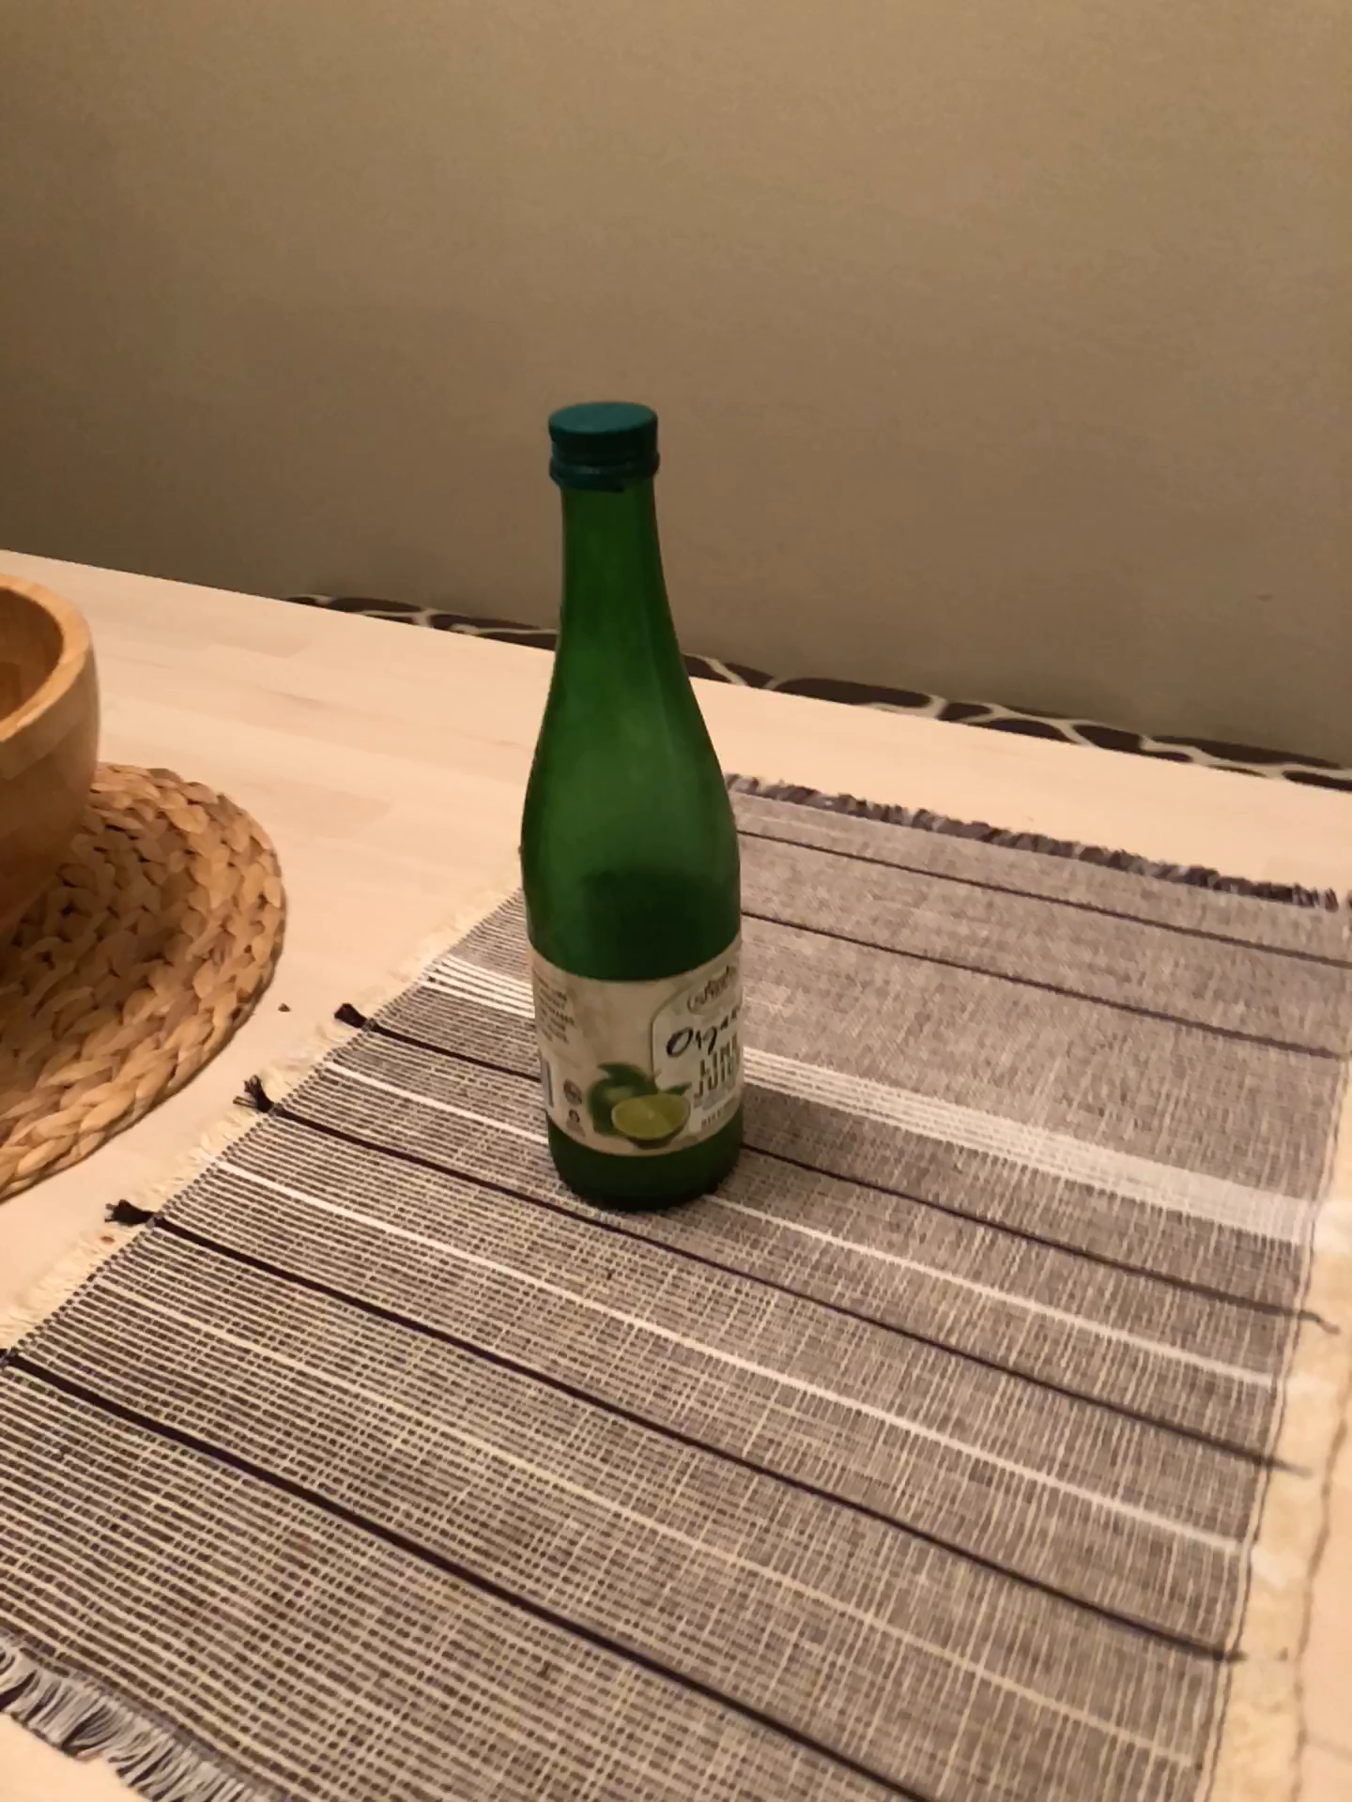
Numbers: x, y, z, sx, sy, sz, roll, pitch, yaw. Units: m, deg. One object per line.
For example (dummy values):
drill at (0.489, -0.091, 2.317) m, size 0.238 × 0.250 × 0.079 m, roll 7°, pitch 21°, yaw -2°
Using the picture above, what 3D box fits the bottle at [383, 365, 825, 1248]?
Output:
bottle at (-0.014, -0.024, 0.441) m, size 0.081 × 0.236 × 0.080 m, roll -2°, pitch 31°, yaw 1°
